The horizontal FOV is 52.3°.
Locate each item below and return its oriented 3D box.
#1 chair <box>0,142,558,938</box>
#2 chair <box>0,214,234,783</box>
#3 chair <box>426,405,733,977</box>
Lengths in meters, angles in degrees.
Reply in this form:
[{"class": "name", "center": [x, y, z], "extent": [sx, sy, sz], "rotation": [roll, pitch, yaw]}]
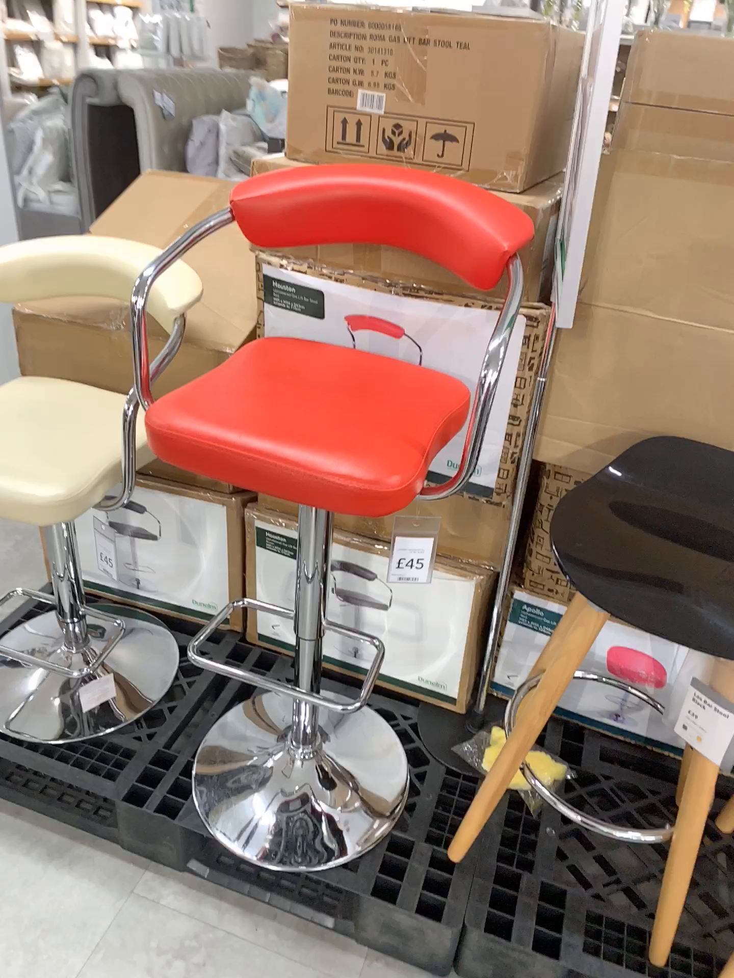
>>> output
[{"class": "chair", "center": [-0.103, 0.054, 1.140], "extent": [0.526, 0.977, 0.533], "rotation": [13, 31, 14]}, {"class": "chair", "center": [-0.580, -0.001, 1.381], "extent": [0.496, 0.838, 0.462], "rotation": [13, 31, 14]}, {"class": "chair", "center": [0.393, 0.310, 1.166], "extent": [0.426, 0.710, 0.392], "rotation": [14, 31, 15]}]
